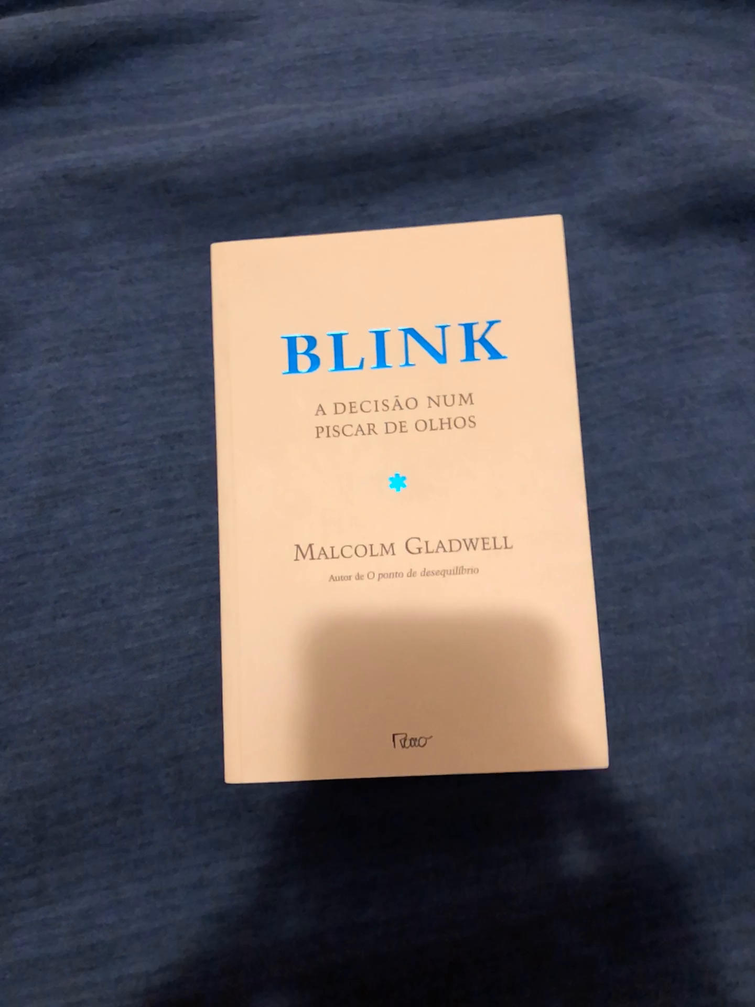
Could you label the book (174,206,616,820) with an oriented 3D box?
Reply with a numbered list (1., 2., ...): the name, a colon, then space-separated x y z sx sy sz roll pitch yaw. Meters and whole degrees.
1. book: 0.000 -0.001 0.320 0.150 0.030 0.220 -3 78 2
